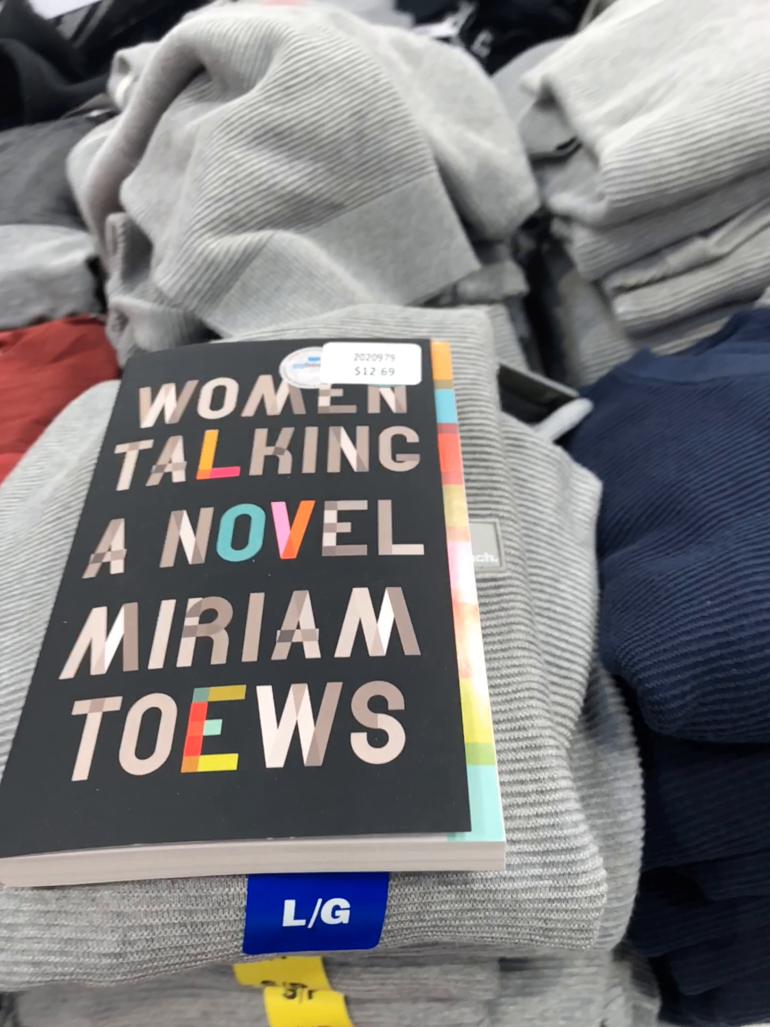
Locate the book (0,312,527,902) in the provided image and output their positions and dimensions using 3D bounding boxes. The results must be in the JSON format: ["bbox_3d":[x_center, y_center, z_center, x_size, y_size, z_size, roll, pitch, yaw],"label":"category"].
[{"bbox_3d":[-0.035,0.010,0.281,0.135,0.020,0.211,-4,48,3],"label":"book"}]
